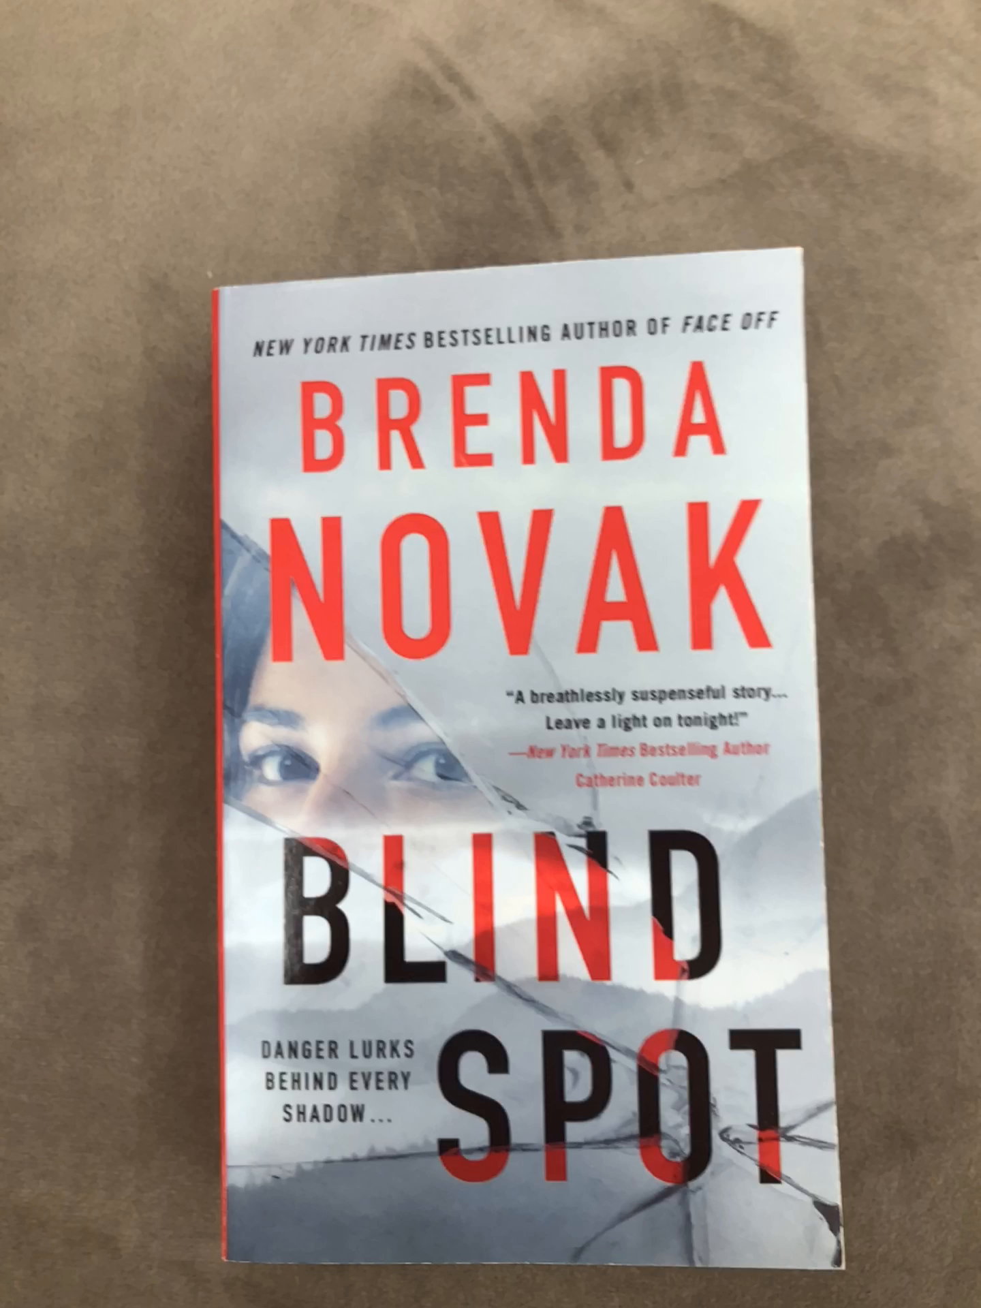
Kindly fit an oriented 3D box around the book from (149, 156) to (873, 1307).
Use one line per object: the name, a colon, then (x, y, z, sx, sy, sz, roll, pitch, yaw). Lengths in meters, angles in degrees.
book: (0.002, 0.014, 0.215, 0.120, 0.050, 0.190, -3, 86, 9)
